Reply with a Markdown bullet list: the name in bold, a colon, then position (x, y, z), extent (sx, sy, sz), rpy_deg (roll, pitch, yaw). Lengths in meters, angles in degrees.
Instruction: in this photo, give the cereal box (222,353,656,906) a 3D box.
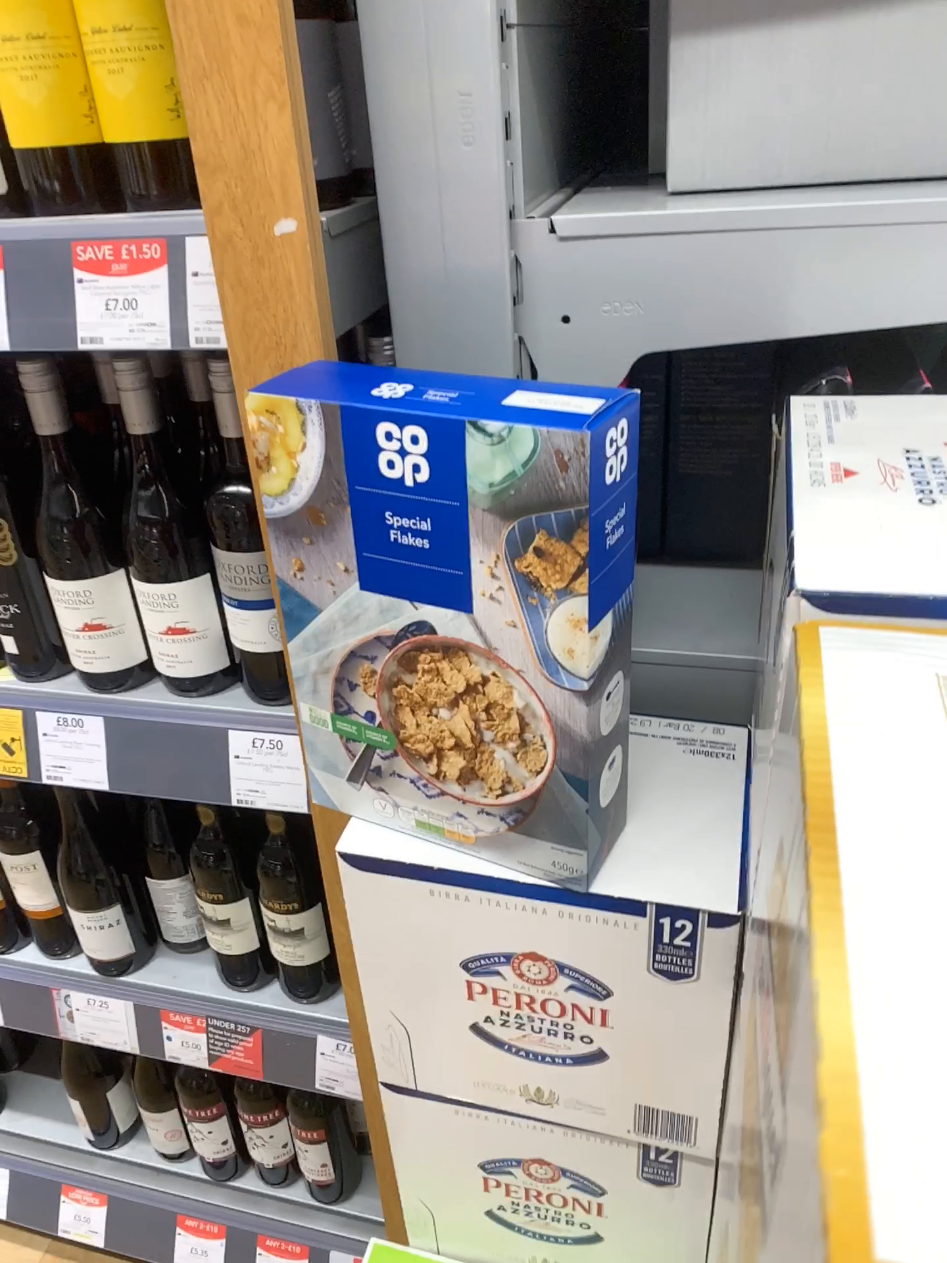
- **cereal box**: position (-0.011, -0.002, 0.527), extent (0.201, 0.267, 0.071), rpy_deg (12, 34, 26)
